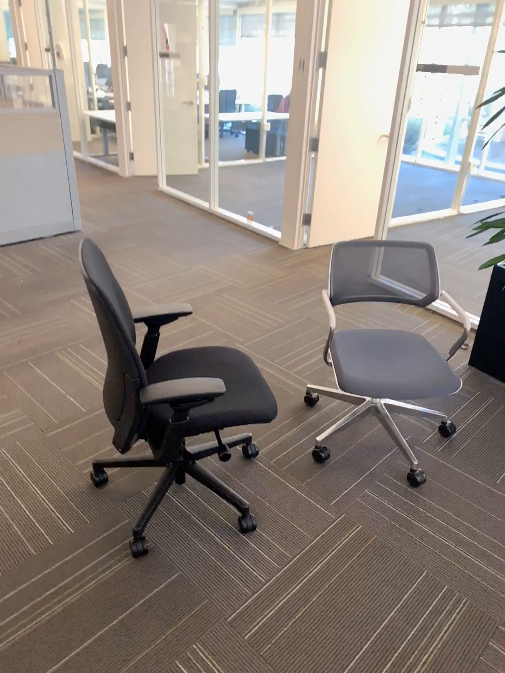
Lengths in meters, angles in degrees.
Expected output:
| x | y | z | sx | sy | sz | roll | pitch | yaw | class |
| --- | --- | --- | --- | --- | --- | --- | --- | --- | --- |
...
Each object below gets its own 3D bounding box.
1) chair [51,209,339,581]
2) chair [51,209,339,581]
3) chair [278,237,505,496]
| x | y | z | sx | sy | sz | roll | pitch | yaw | class |
| --- | --- | --- | --- | --- | --- | --- | --- | --- | --- |
| -0.262 | 0.122 | 1.853 | 0.710 | 0.914 | 0.825 | -9 | 30 | -20 | chair |
| -0.262 | 0.122 | 1.853 | 0.710 | 0.914 | 0.825 | -9 | 30 | -20 | chair |
| 0.567 | 0.075 | 2.175 | 0.730 | 0.775 | 0.755 | -2 | 28 | -9 | chair |
